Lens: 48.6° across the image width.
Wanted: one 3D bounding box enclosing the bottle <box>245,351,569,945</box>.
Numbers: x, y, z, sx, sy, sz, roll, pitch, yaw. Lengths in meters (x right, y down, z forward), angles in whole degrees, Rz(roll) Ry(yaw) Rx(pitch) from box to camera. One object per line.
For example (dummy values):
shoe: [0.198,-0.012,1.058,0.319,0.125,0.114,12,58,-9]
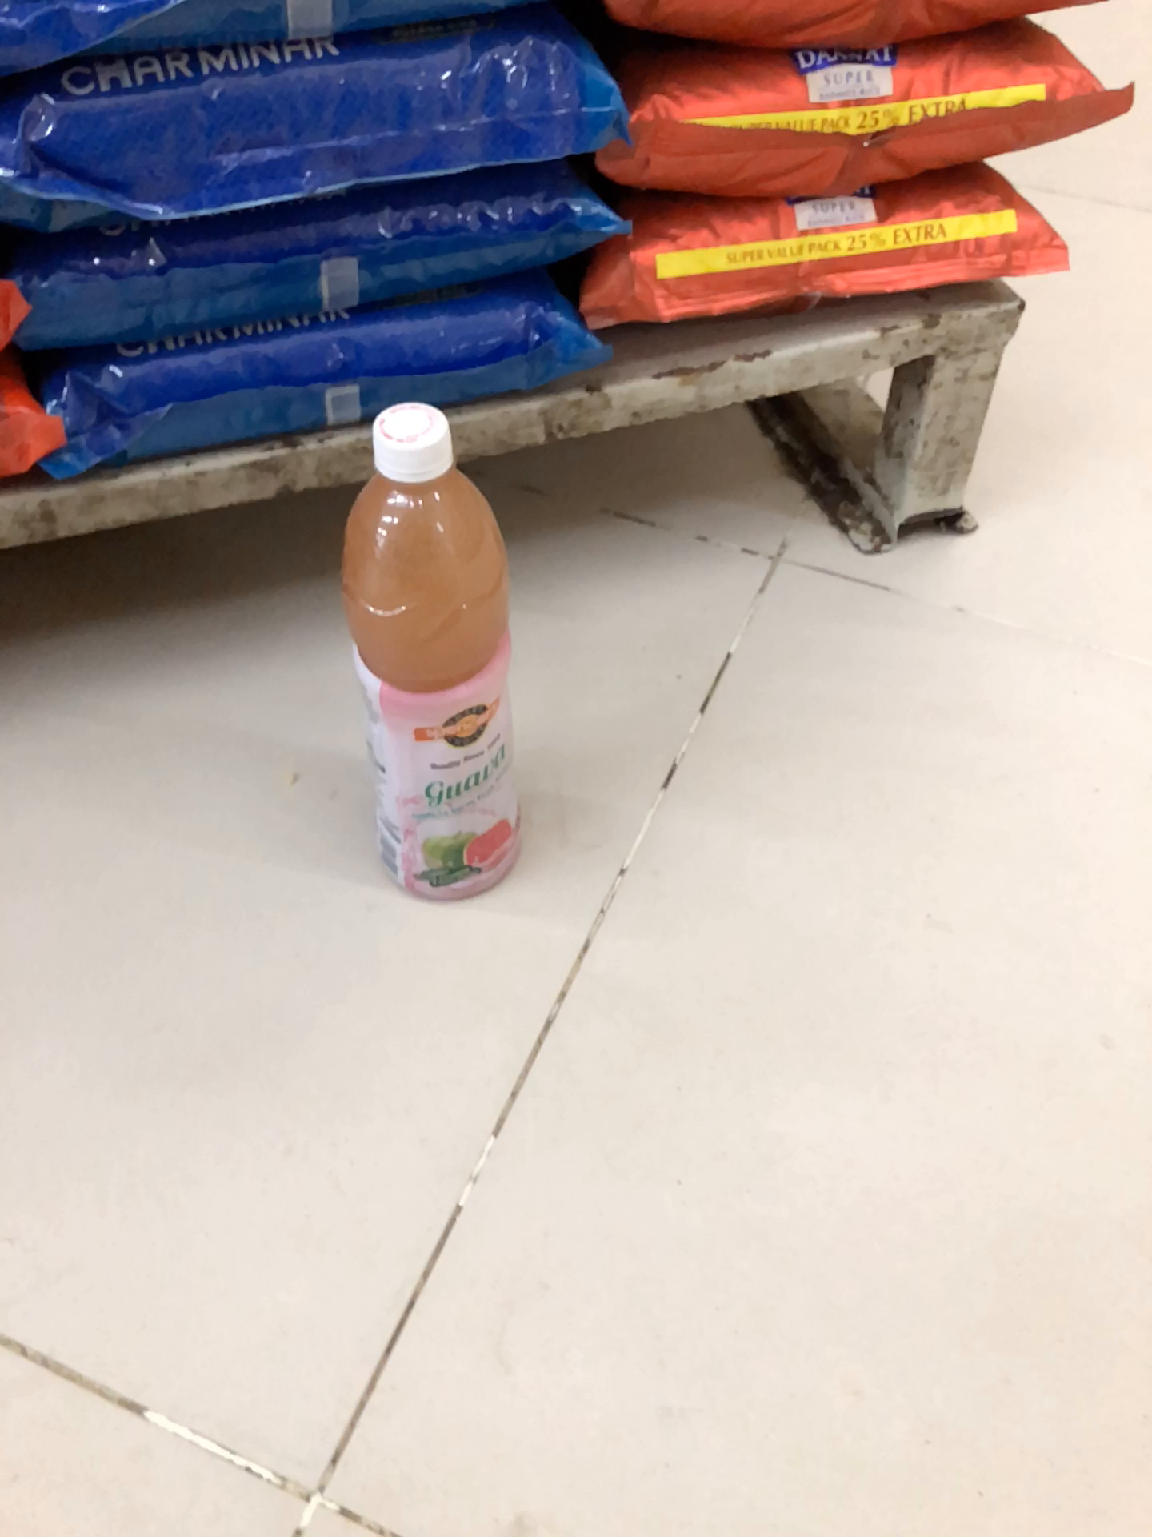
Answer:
bottle: [-0.066,-0.041,0.585,0.090,0.259,0.090,0,50,0]
